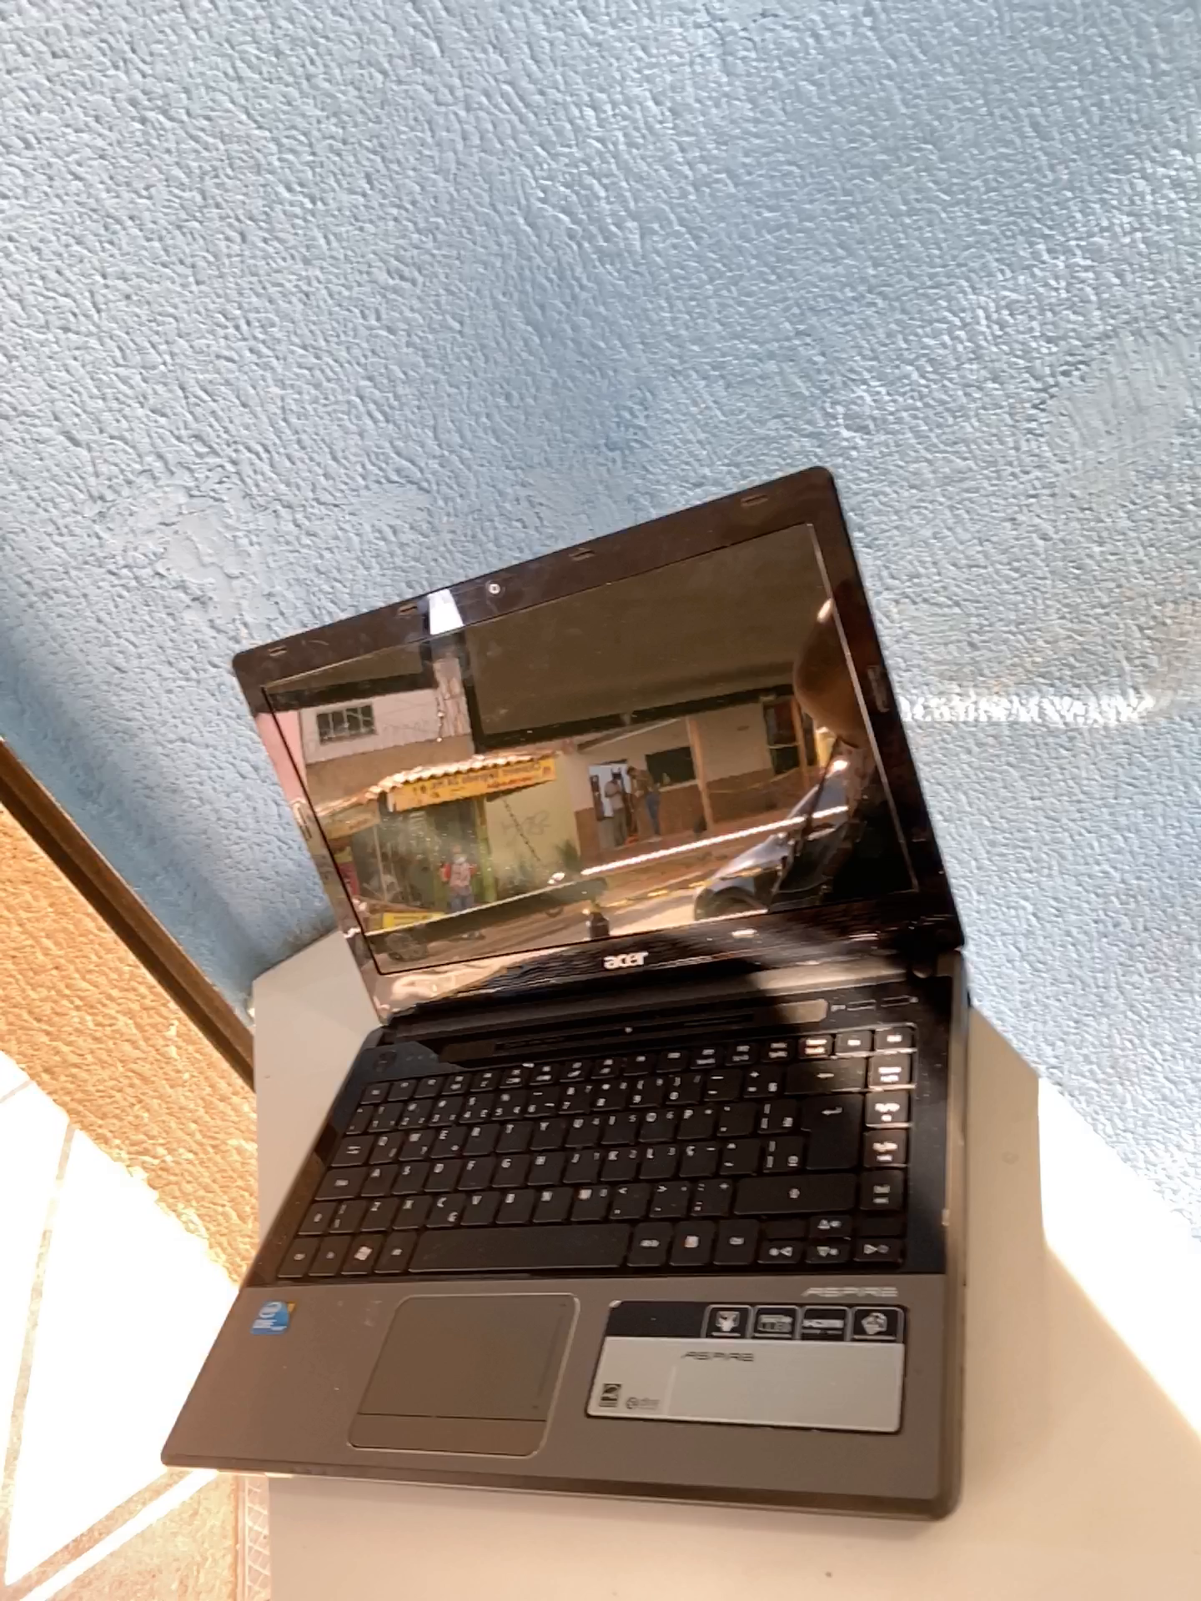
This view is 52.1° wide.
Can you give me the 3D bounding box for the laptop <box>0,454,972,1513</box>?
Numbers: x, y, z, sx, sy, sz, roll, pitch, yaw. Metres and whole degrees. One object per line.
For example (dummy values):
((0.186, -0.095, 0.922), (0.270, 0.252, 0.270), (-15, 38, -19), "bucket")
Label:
((-0.044, 0.069, 0.516), (0.337, 0.207, 0.319), (-13, 33, 26), "laptop")
